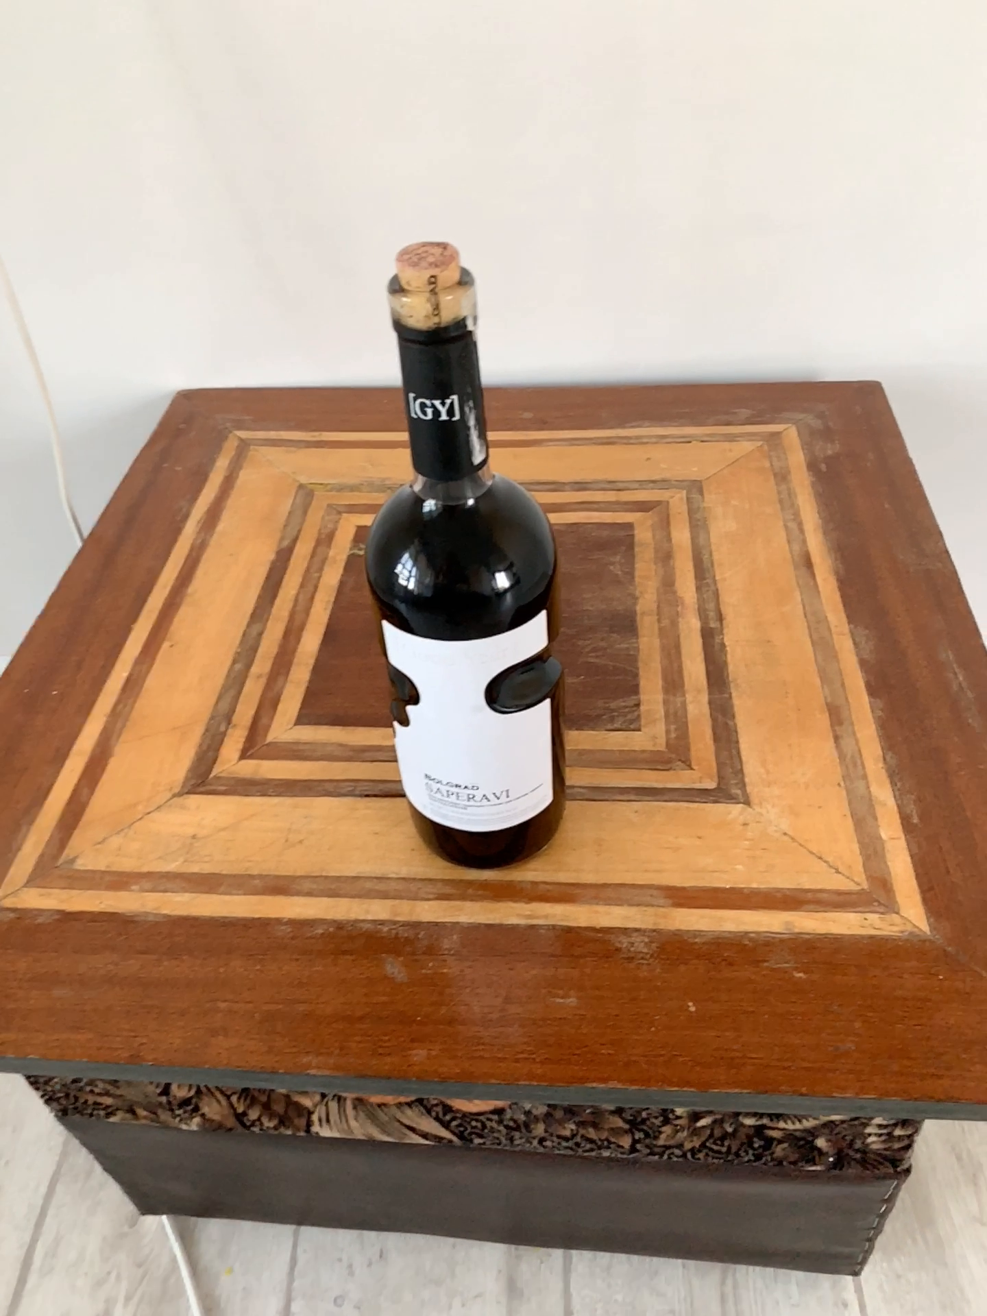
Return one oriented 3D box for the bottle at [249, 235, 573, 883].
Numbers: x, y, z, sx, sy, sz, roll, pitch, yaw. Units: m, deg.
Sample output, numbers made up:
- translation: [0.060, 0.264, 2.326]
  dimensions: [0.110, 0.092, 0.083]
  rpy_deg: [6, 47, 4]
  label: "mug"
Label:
- translation: [-0.016, -0.024, 0.429]
  dimensions: [0.090, 0.269, 0.090]
  rpy_deg: [-3, 42, 3]
  label: "bottle"
